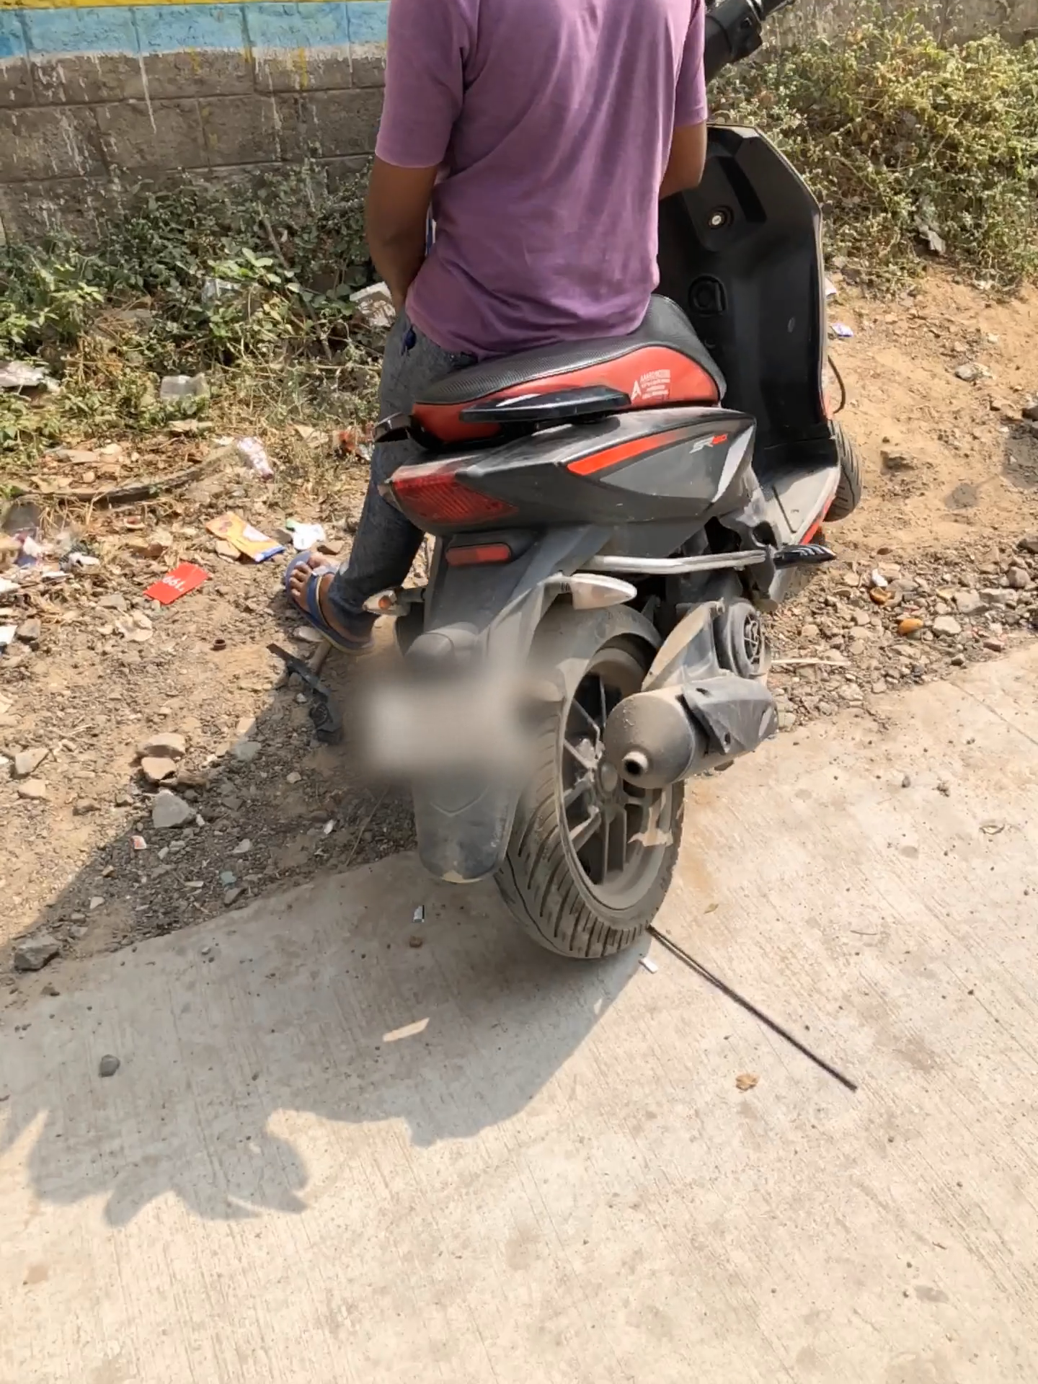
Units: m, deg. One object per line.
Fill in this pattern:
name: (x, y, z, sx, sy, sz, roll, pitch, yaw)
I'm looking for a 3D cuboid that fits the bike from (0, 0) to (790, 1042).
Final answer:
bike: (0.000, -0.608, 2.018, 0.717, 1.199, 1.777, 8, 39, 11)
